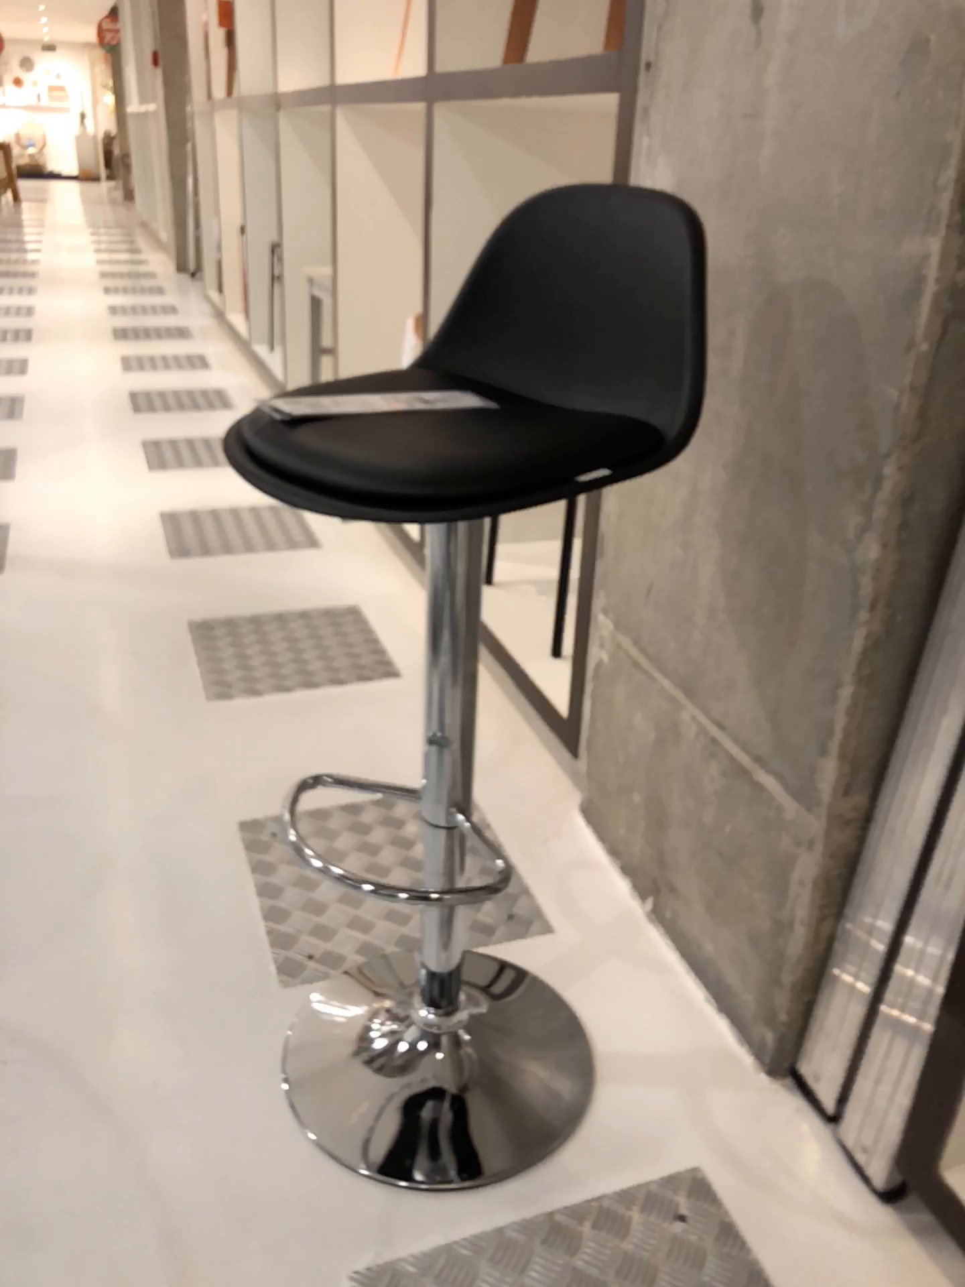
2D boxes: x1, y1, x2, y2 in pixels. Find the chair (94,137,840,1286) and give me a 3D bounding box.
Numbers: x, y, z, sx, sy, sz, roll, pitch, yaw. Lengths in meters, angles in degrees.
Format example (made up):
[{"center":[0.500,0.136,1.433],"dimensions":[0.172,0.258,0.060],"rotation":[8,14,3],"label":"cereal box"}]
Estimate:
[{"center":[-0.038,0.045,1.125],"dimensions":[0.472,1.013,0.432],"rotation":[-18,32,-38],"label":"chair"}]
